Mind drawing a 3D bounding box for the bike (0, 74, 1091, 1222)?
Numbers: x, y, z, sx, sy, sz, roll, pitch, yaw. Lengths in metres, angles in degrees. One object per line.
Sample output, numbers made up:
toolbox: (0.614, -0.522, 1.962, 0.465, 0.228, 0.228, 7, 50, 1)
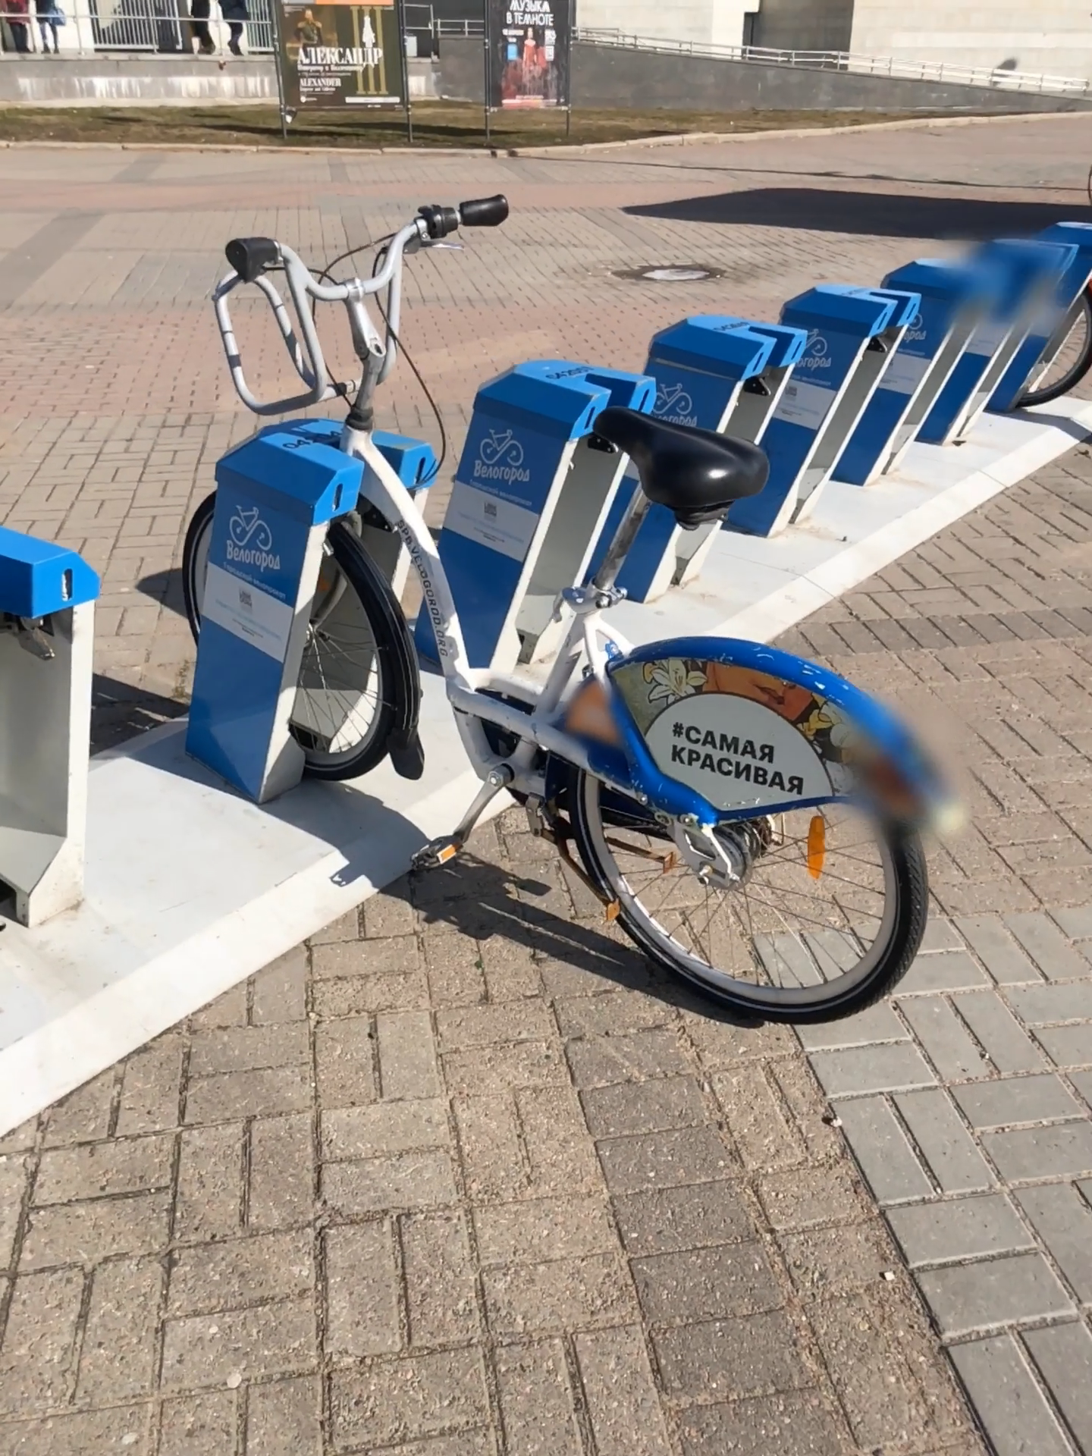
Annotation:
bike: (-0.094, -0.290, 1.986, 1.630, 1.203, 0.598, 25, 36, 30)
